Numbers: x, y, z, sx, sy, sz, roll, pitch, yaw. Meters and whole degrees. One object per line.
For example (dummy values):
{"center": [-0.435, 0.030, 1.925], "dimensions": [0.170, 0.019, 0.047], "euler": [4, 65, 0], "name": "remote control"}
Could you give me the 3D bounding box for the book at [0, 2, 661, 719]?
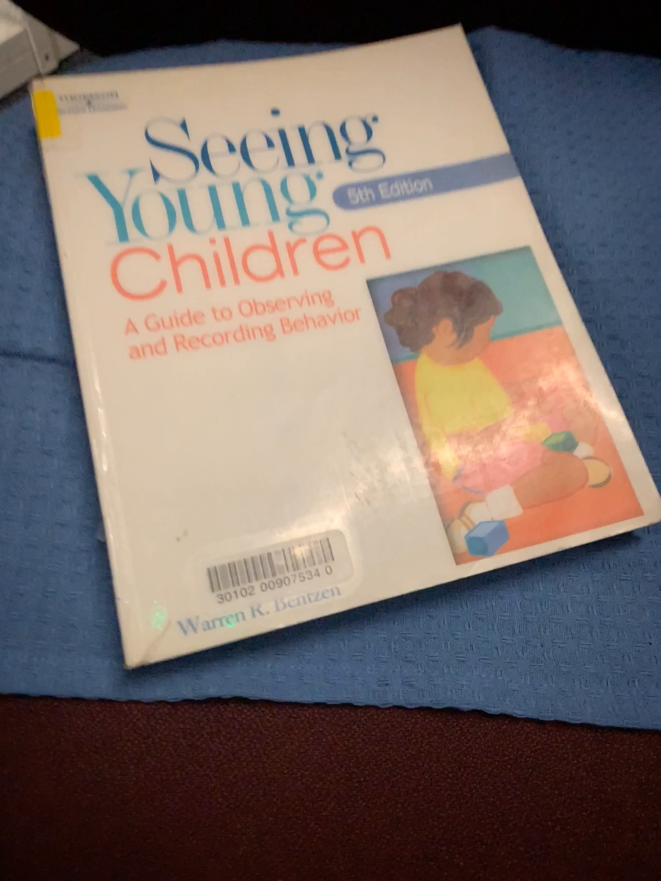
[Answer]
{"center": [-0.002, -0.051, 0.268], "dimensions": [0.200, 0.030, 0.251], "euler": [-13, 76, -10], "name": "book"}
